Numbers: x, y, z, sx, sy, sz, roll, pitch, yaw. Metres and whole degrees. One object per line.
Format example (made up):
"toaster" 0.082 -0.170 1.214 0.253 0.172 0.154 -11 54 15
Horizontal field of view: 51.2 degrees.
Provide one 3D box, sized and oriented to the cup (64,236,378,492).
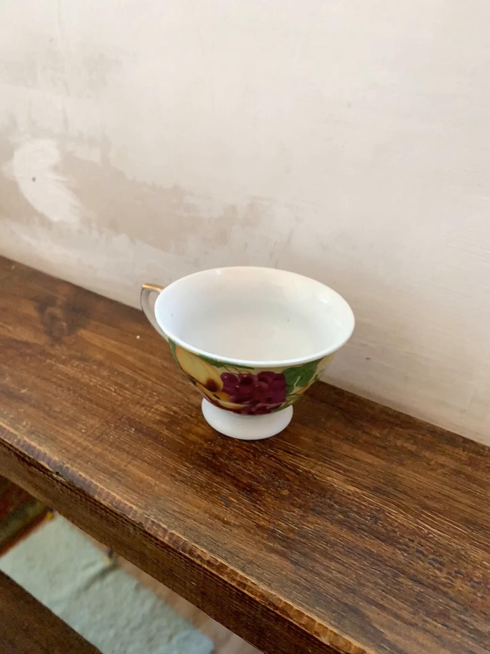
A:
"cup" -0.010 0.008 0.263 0.123 0.058 0.092 19 34 24
